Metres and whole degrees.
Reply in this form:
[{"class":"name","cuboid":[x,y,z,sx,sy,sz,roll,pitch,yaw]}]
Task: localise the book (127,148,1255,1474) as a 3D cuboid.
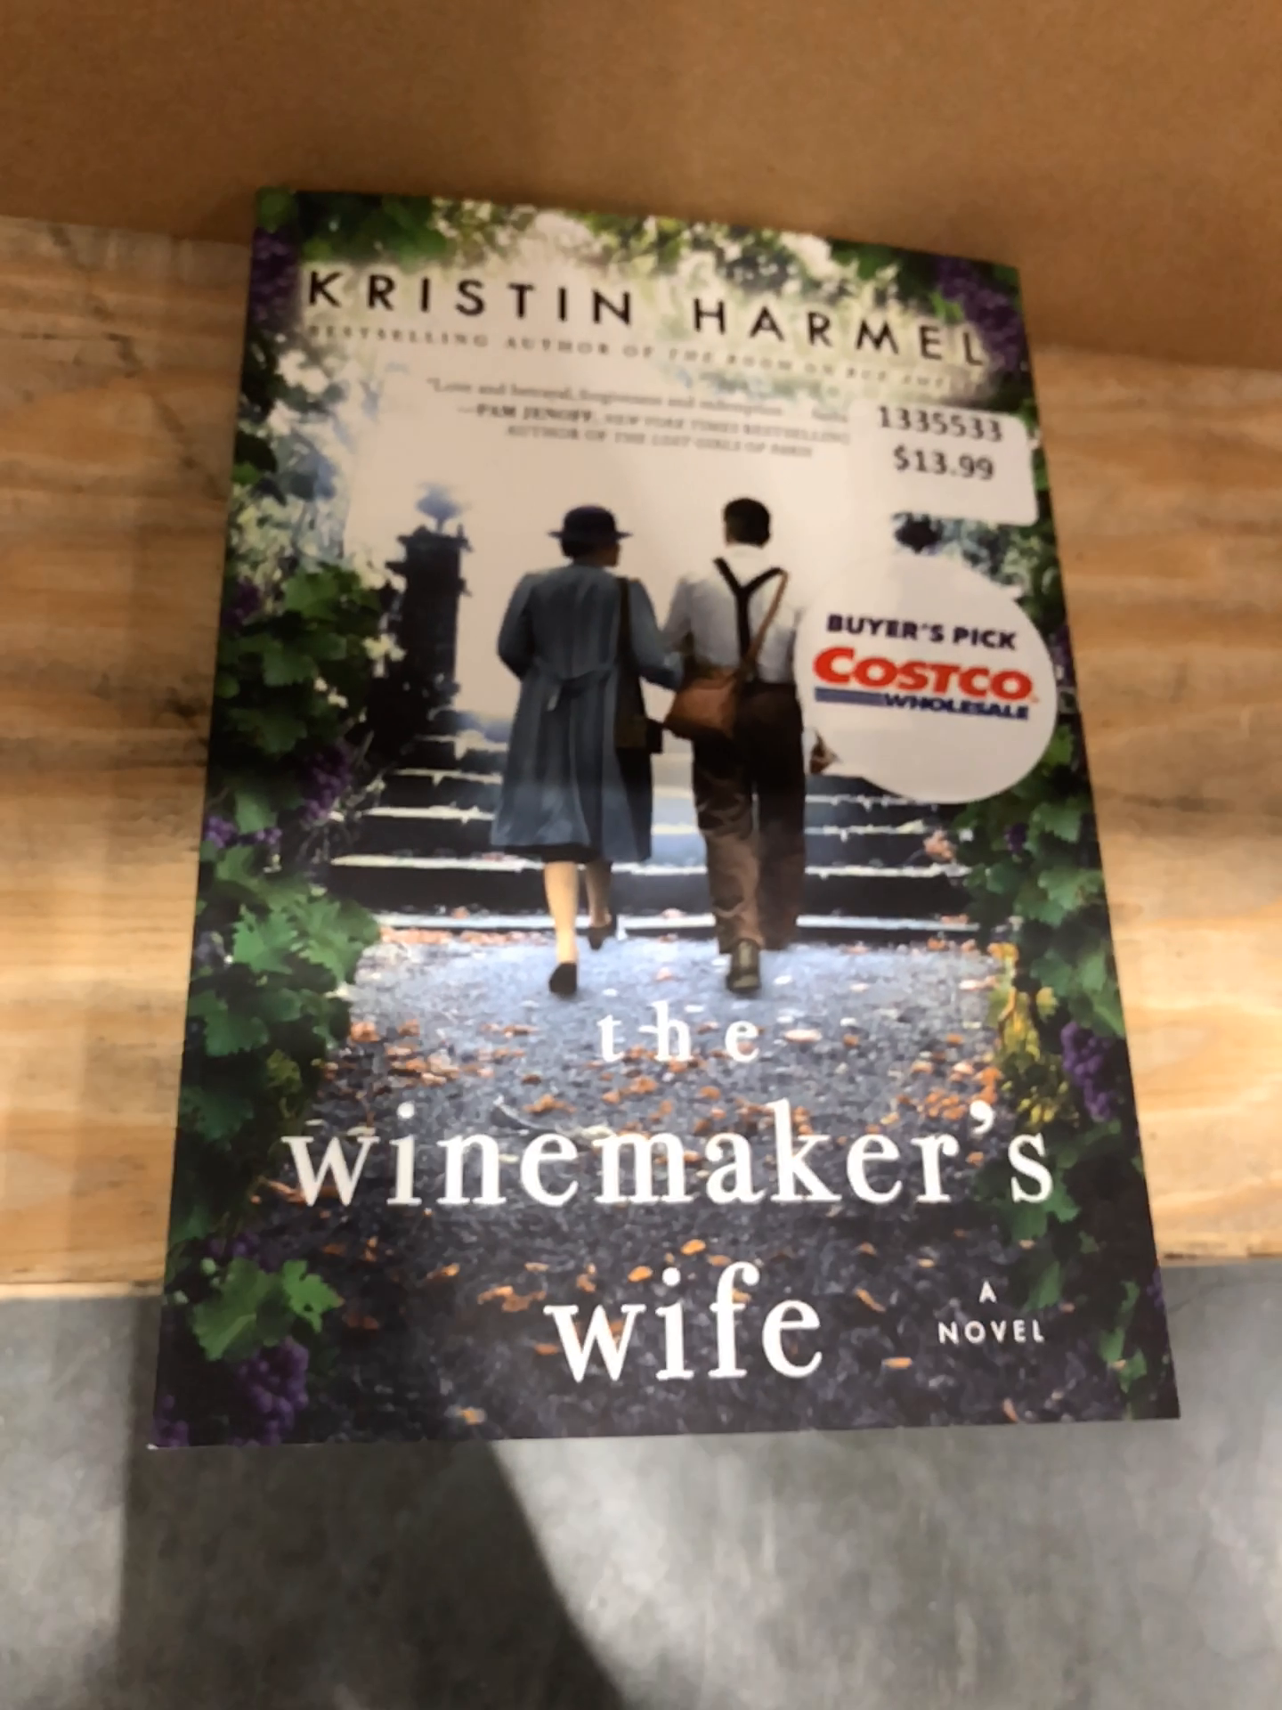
[{"class":"book","cuboid":[0.006,-0.017,0.255,0.154,0.035,0.229,2,67,-8]}]
